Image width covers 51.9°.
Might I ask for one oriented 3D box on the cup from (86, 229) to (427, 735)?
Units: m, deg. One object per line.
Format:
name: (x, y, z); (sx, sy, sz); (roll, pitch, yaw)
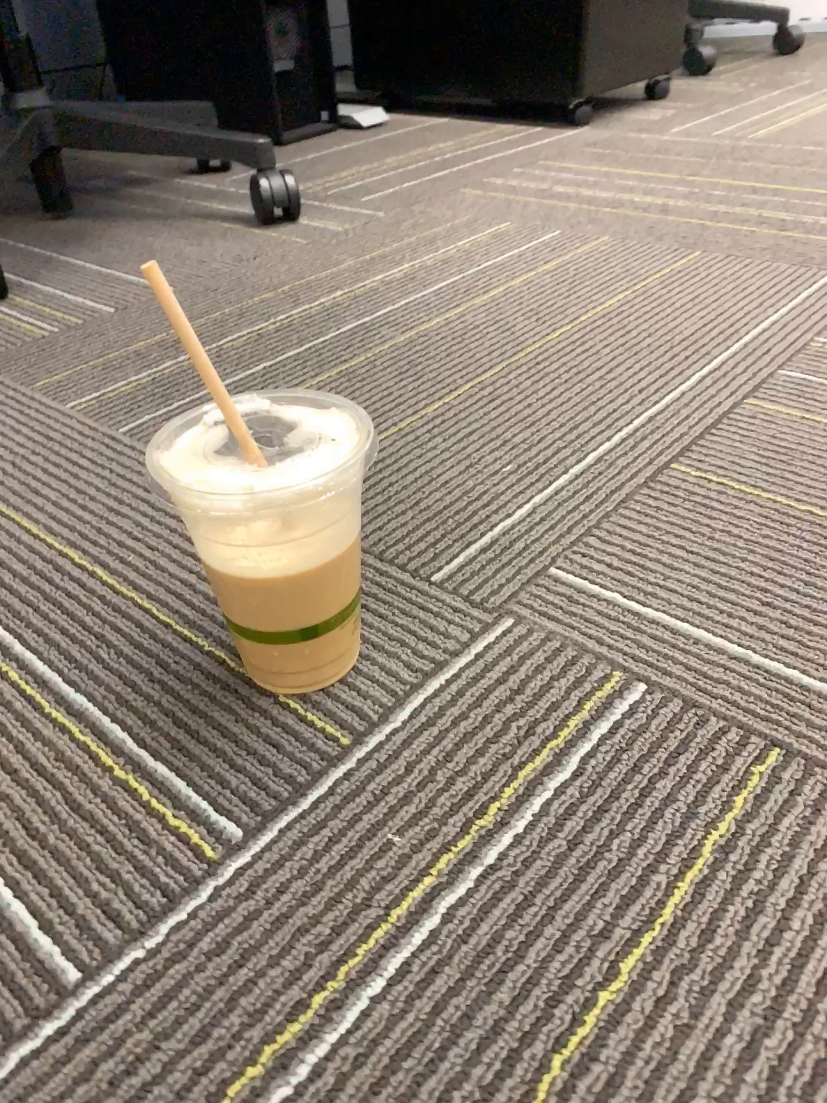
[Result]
cup: (-0.063, -0.029, 0.369); (0.100, 0.179, 0.091); (-15, 36, -14)
